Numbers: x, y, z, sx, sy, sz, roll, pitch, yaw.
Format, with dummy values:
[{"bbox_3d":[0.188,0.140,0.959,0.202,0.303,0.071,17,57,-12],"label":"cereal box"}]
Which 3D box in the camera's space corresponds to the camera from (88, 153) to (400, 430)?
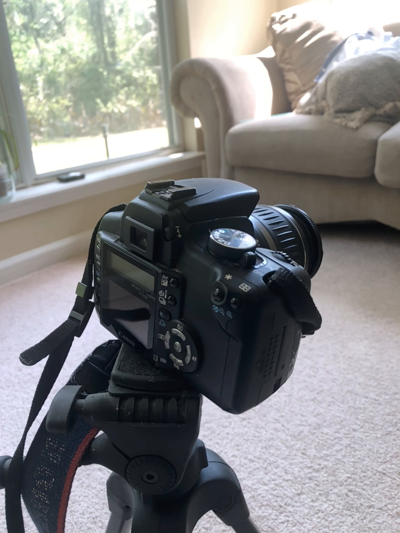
[{"bbox_3d":[0.030,-0.007,0.272,0.130,0.093,0.142,25,29,36],"label":"camera"}]
